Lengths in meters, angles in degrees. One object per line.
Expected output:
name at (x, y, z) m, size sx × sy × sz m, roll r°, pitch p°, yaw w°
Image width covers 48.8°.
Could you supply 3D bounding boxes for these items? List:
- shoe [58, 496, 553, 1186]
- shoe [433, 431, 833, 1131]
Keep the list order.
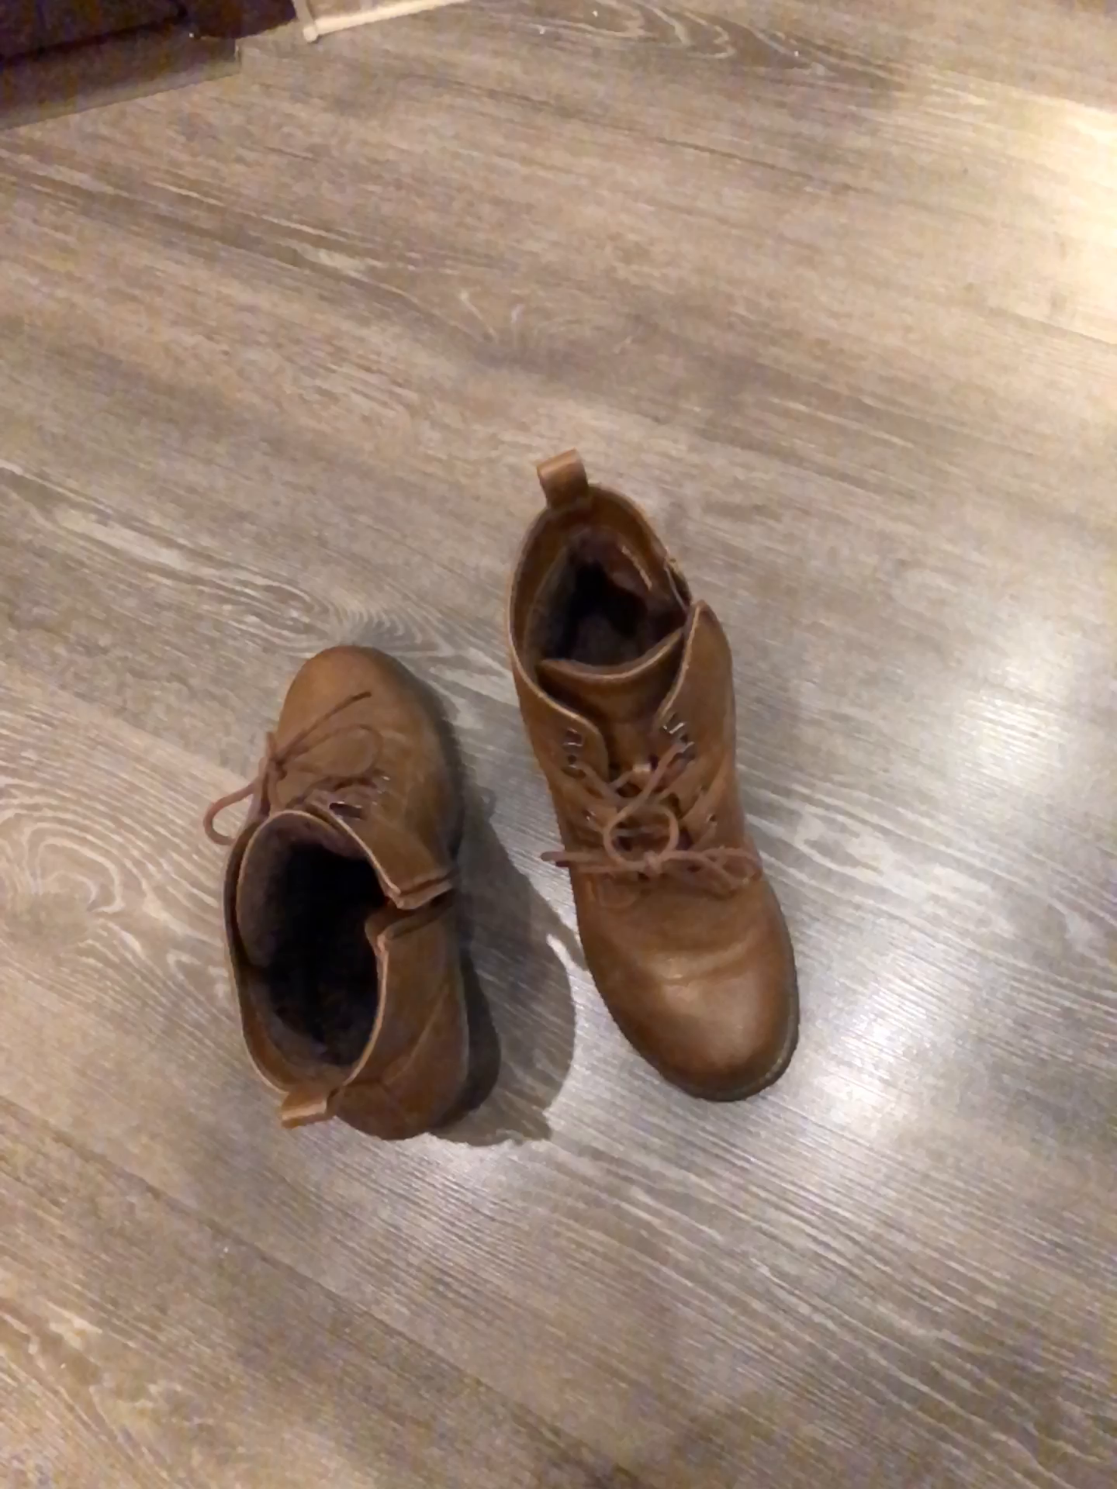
shoe at (-0.095, 0.048, 0.502) m, size 0.100 × 0.170 × 0.220 m, roll -19°, pitch 72°, yaw 4°
shoe at (0.034, 0.030, 0.489) m, size 0.090 × 0.190 × 0.220 m, roll -12°, pitch 72°, yaw 6°
